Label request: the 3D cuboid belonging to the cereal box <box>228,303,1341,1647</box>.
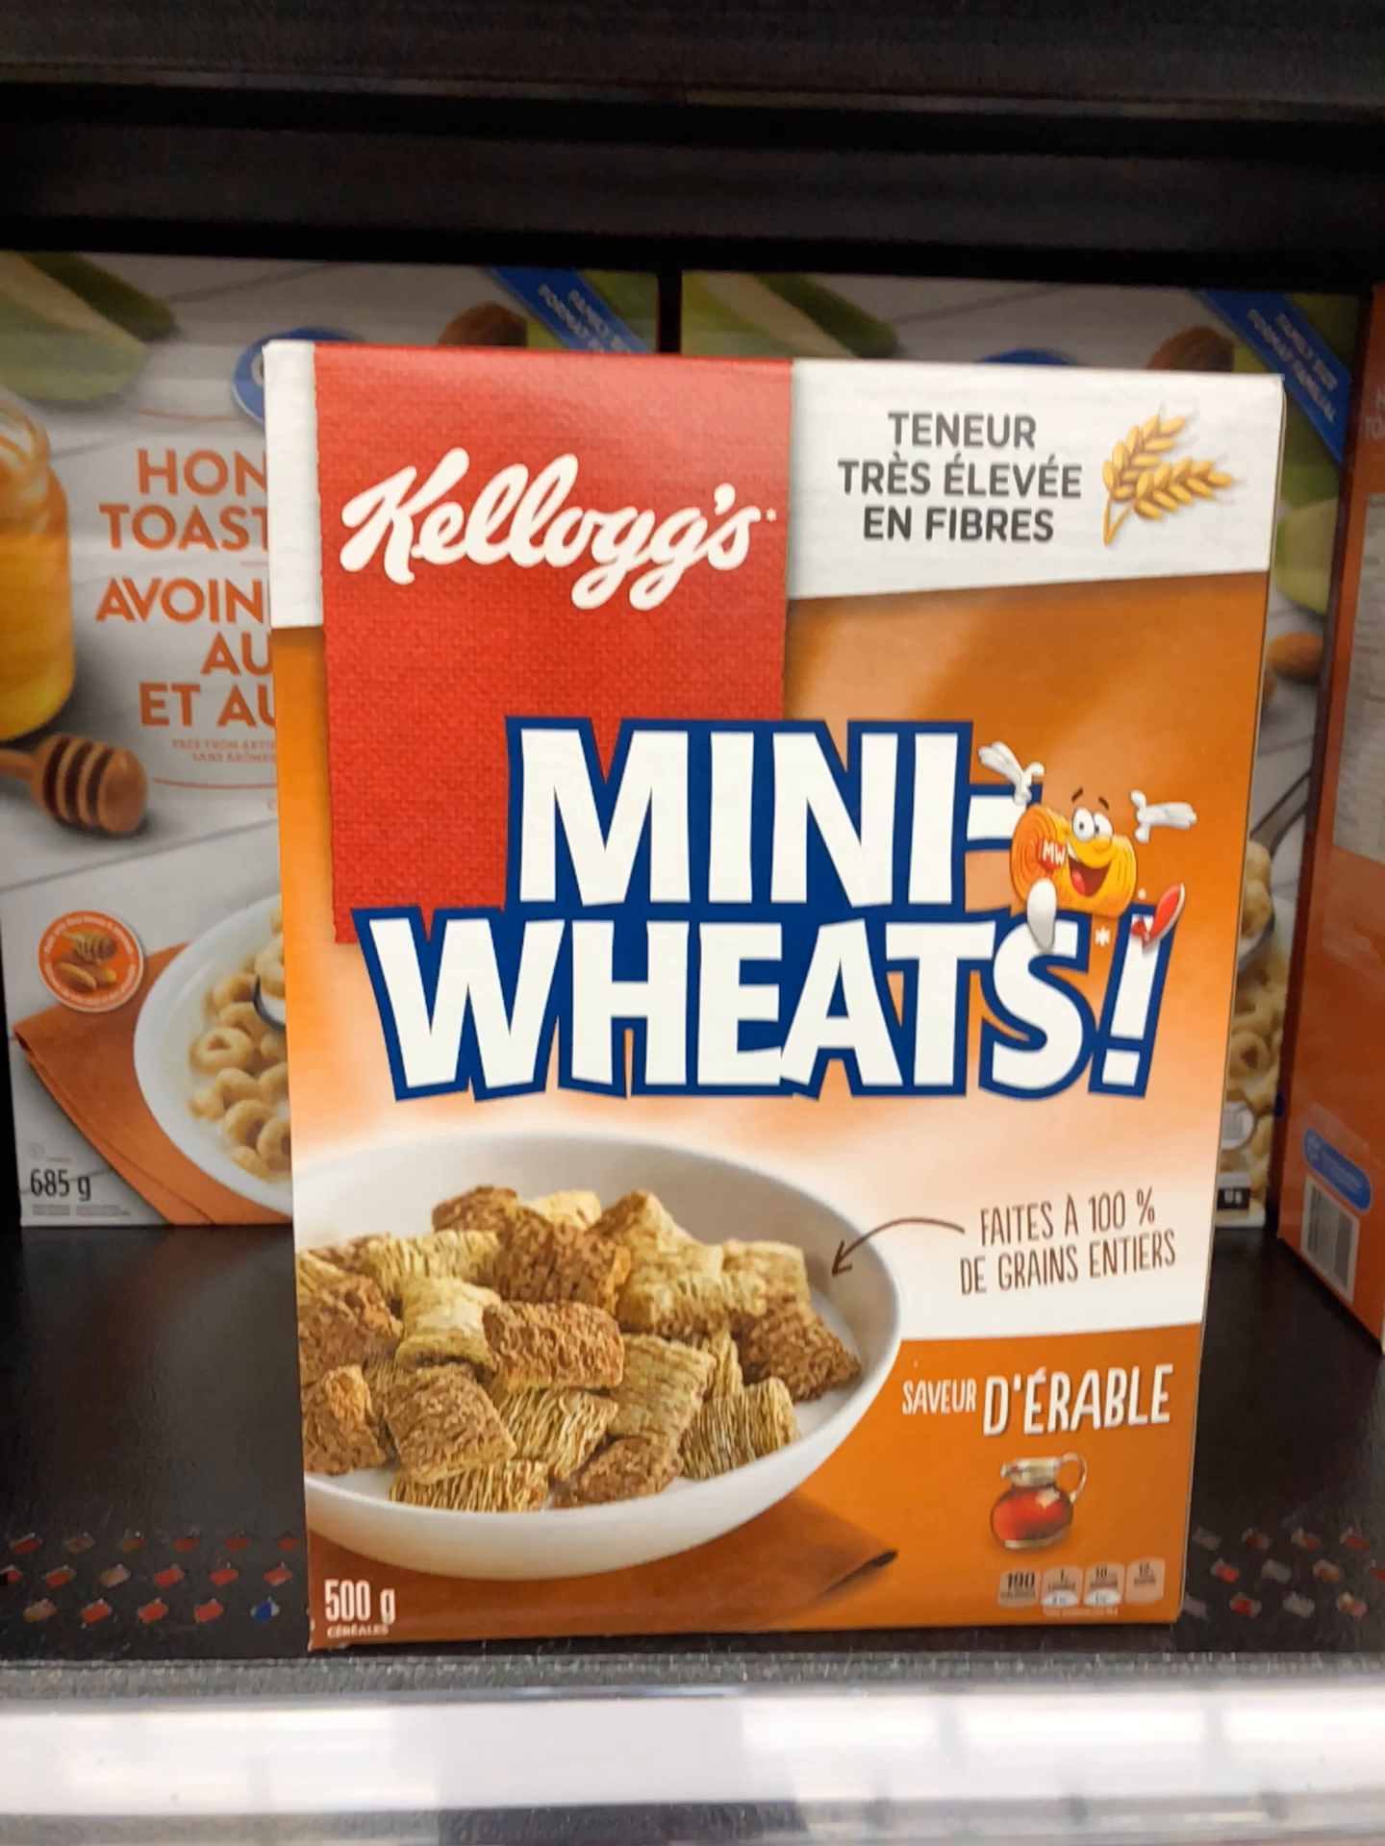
[{"bbox_3d":[0.015,0.016,0.332,0.200,0.269,0.060,0,12,-3],"label":"cereal box"}]
